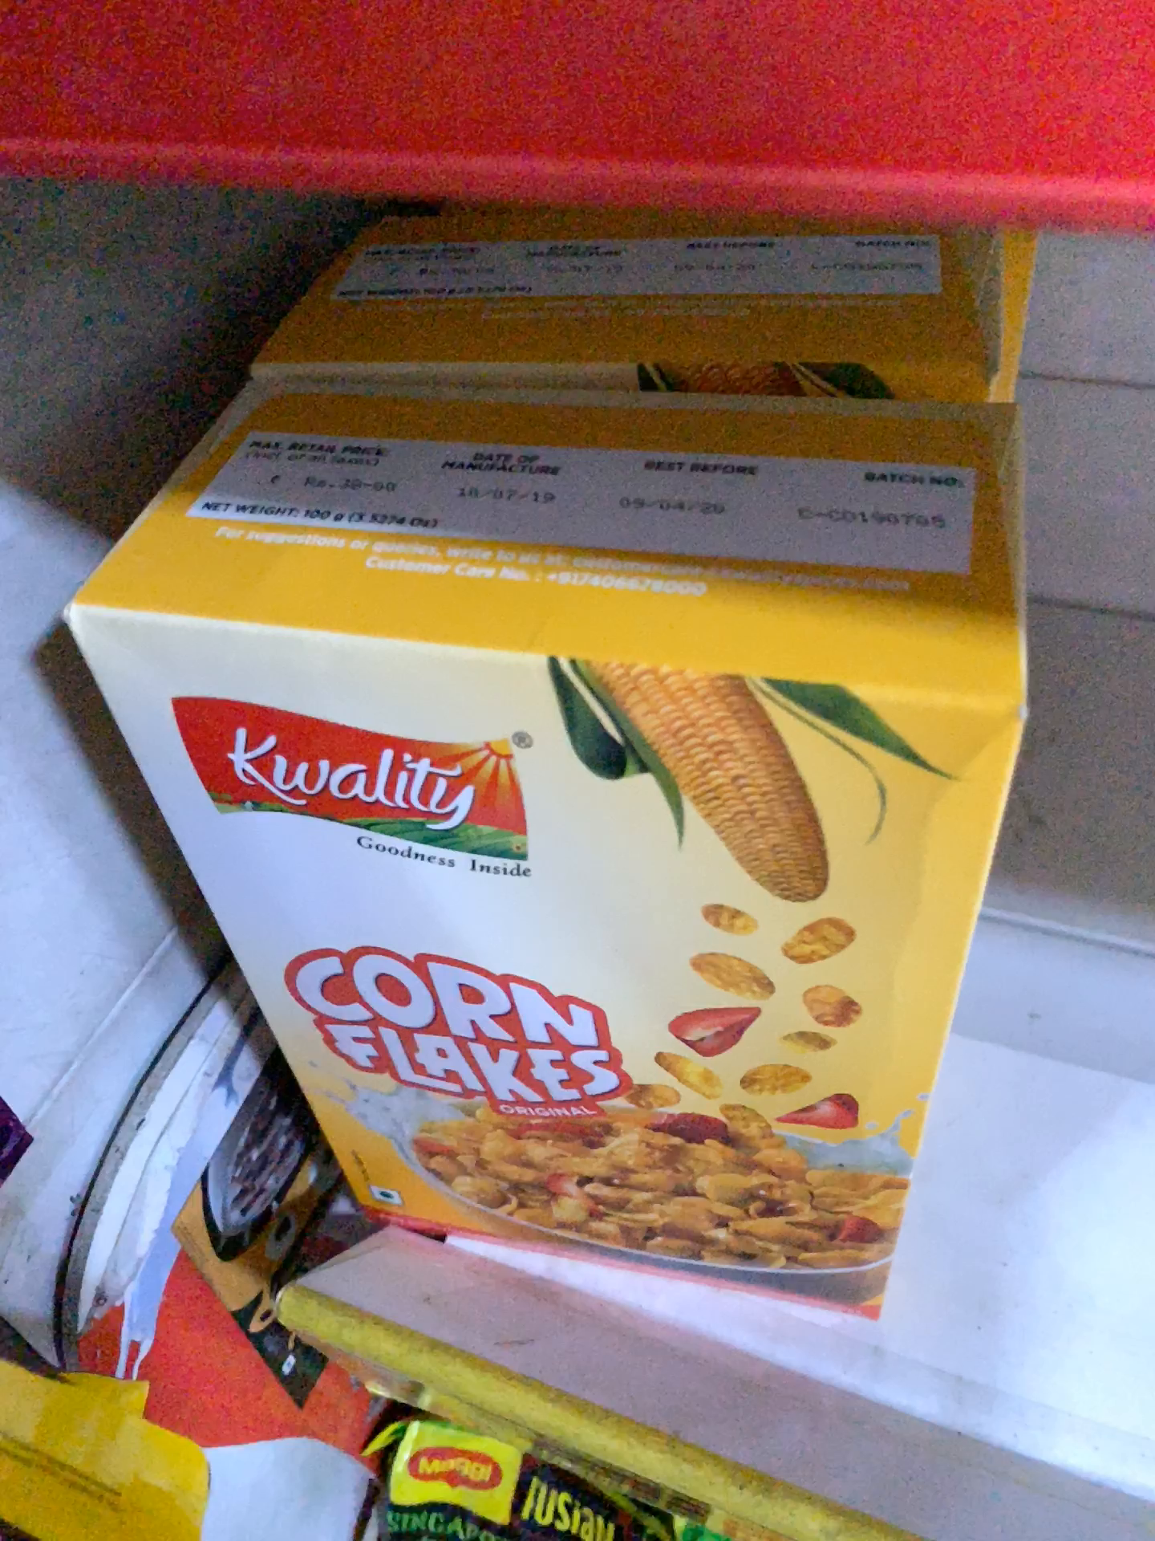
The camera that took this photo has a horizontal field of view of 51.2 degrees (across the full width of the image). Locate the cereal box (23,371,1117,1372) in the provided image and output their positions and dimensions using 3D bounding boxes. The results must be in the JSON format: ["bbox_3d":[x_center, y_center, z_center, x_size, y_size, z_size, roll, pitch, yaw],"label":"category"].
[{"bbox_3d":[0.008,0.029,0.211,0.120,0.179,0.060,6,46,13],"label":"cereal box"}]
